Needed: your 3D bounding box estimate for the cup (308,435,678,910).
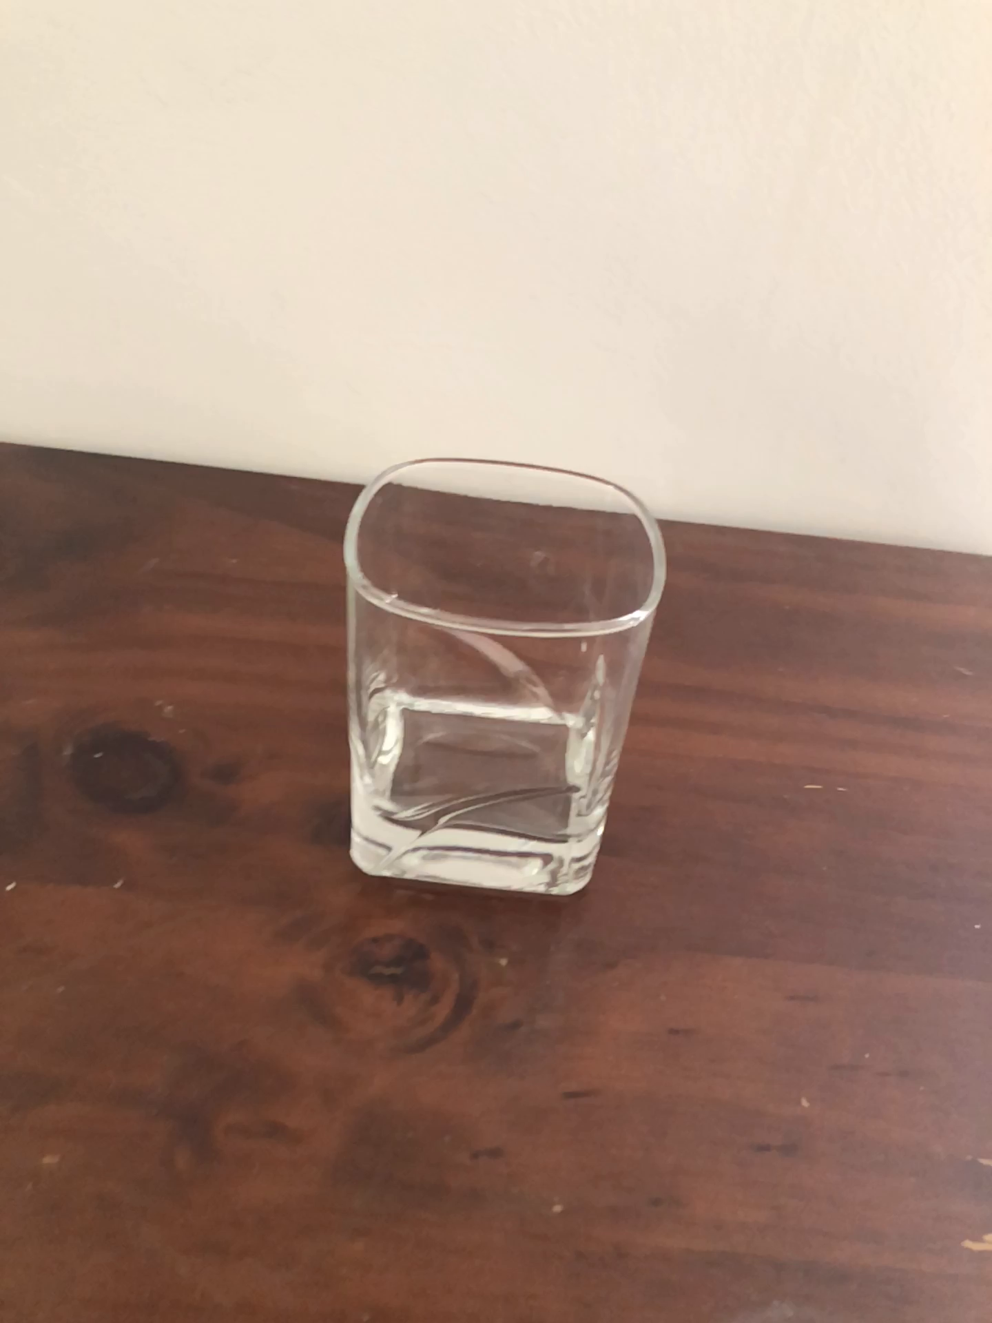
[{"bbox_3d":[-0.003,0.002,0.285,0.077,0.087,0.076,5,35,-3],"label":"cup"}]
